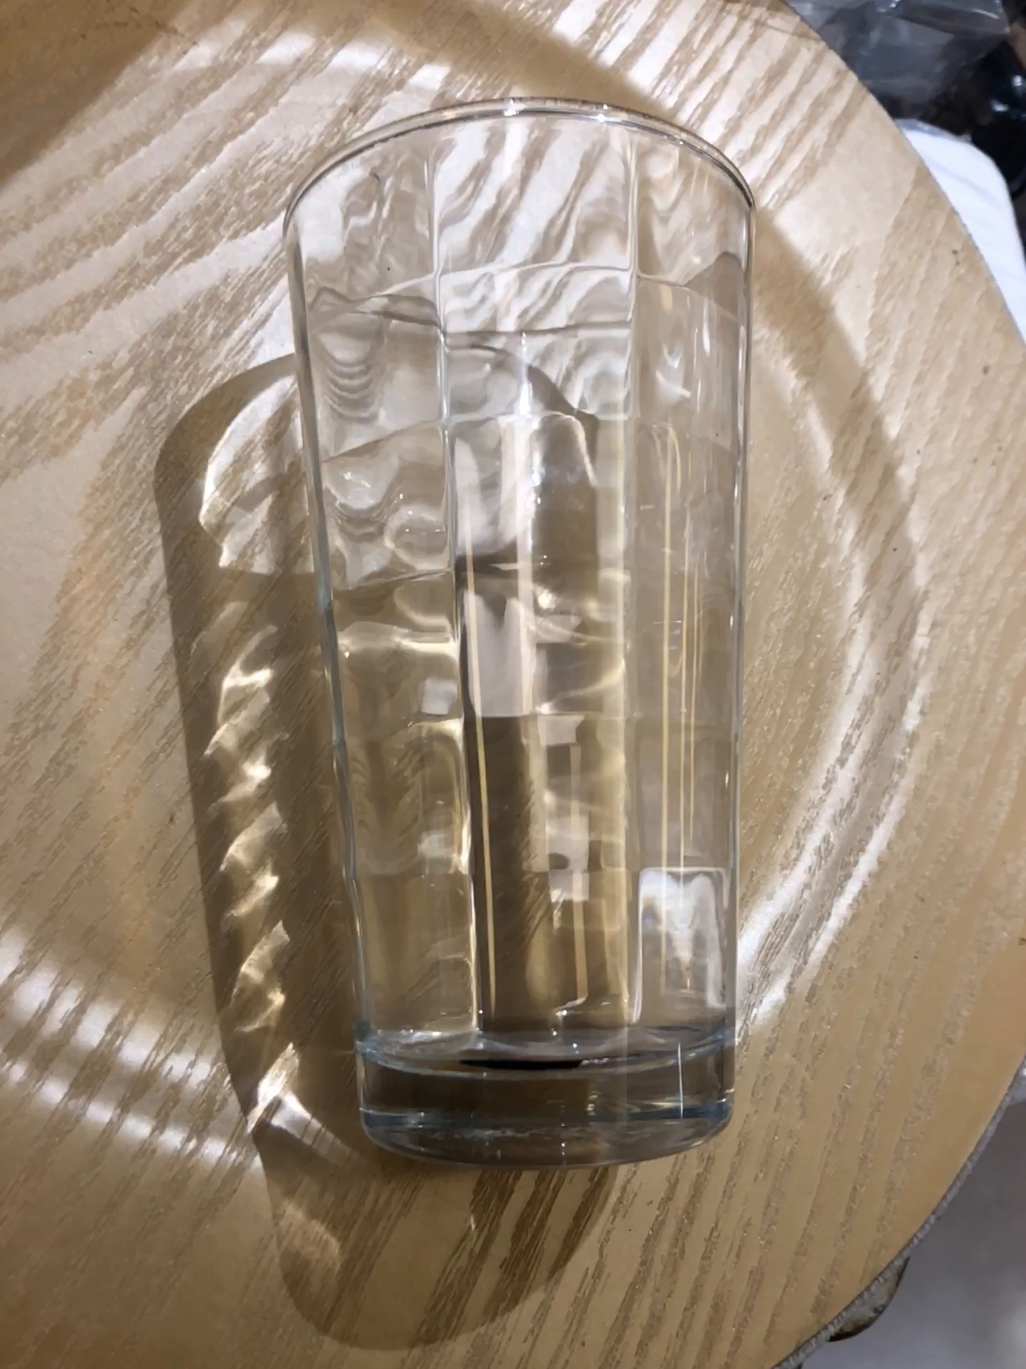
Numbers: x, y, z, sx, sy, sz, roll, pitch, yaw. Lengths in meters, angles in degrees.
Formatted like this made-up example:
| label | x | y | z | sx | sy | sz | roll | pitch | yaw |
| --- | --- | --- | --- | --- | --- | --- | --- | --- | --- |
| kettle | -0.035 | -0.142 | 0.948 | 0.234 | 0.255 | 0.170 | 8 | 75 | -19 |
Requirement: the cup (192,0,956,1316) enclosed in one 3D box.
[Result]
| label | x | y | z | sx | sy | sz | roll | pitch | yaw |
| --- | --- | --- | --- | --- | --- | --- | --- | --- | --- |
| cup | -0.002 | -0.014 | 0.190 | 0.090 | 0.080 | 0.180 | 1 | 78 | -22 |
